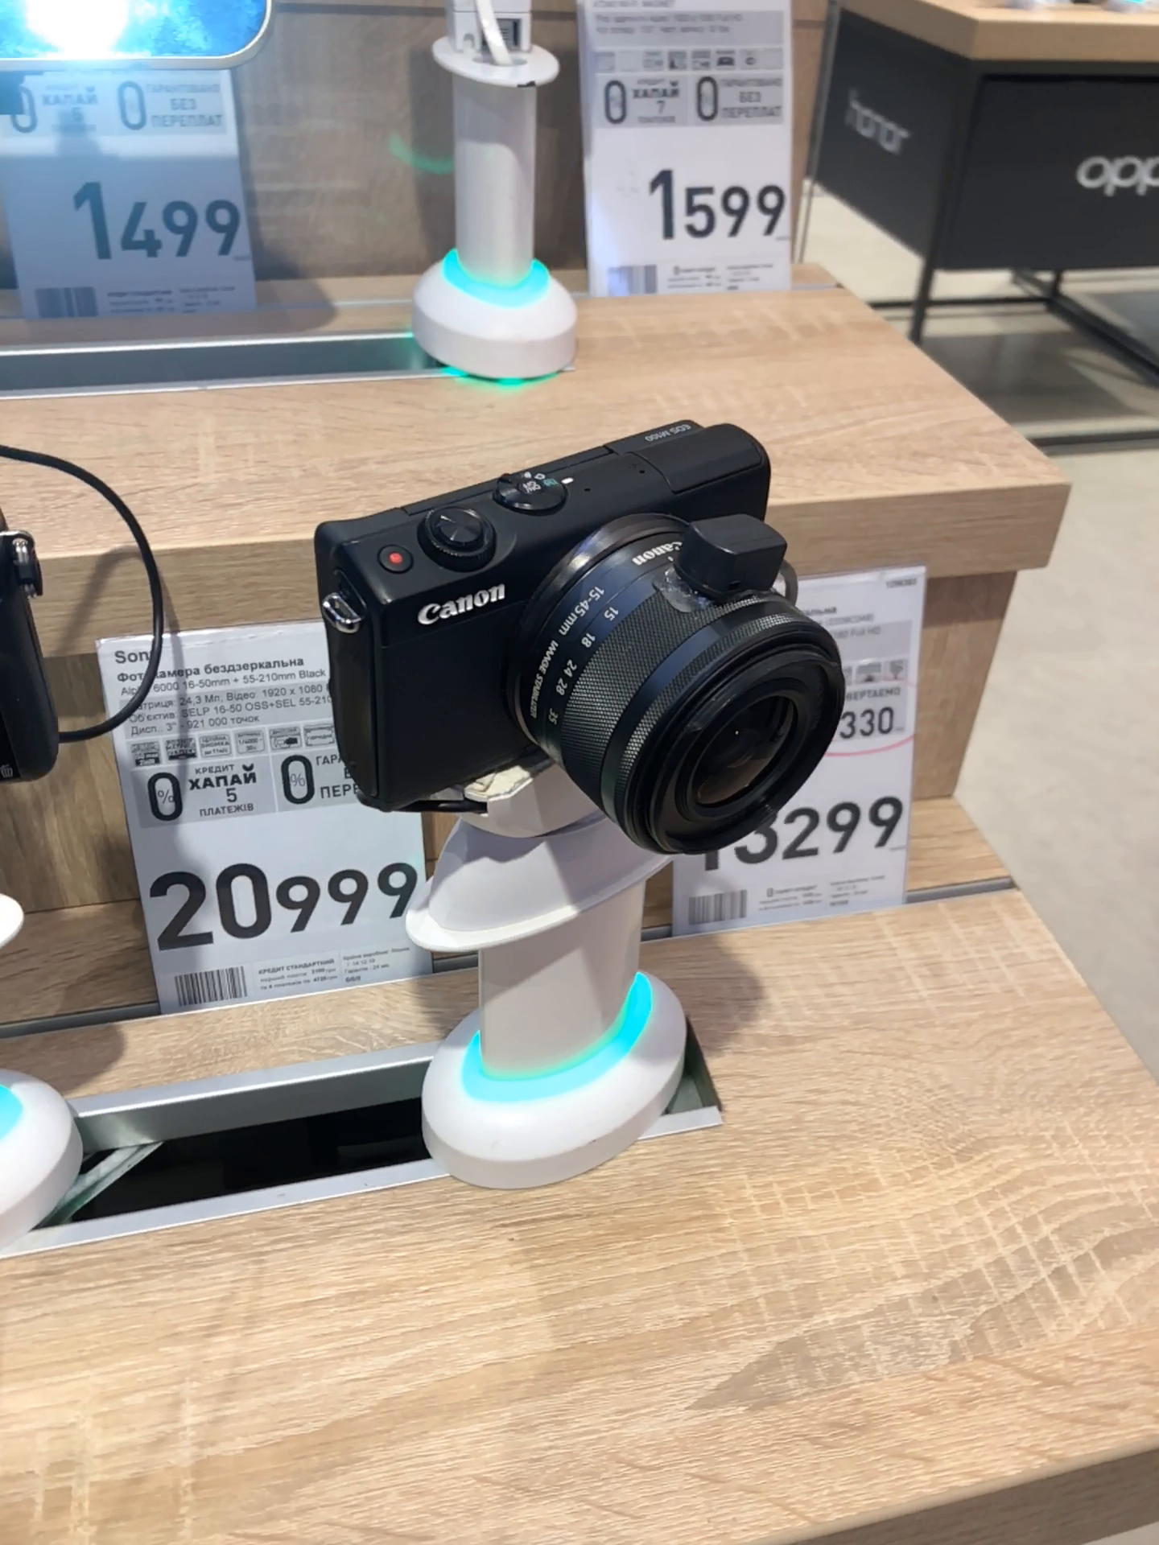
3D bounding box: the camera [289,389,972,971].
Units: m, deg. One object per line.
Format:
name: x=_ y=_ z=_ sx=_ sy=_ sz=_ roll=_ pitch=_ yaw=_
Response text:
camera: x=0.009 y=-0.027 z=0.278 sx=0.112 sy=0.060 sz=0.082 roll=-24 pitch=49 yaw=-30
